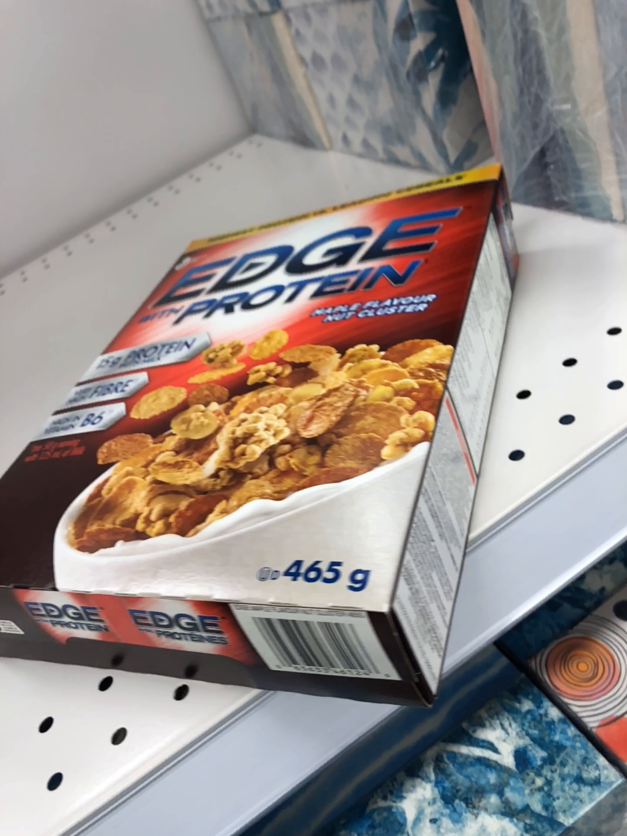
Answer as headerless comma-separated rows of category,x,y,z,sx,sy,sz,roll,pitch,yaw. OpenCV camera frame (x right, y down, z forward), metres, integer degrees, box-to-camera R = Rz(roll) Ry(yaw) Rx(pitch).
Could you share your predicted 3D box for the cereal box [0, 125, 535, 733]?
cereal box,-0.032,-0.021,0.309,0.221,0.050,0.270,-5,40,28
